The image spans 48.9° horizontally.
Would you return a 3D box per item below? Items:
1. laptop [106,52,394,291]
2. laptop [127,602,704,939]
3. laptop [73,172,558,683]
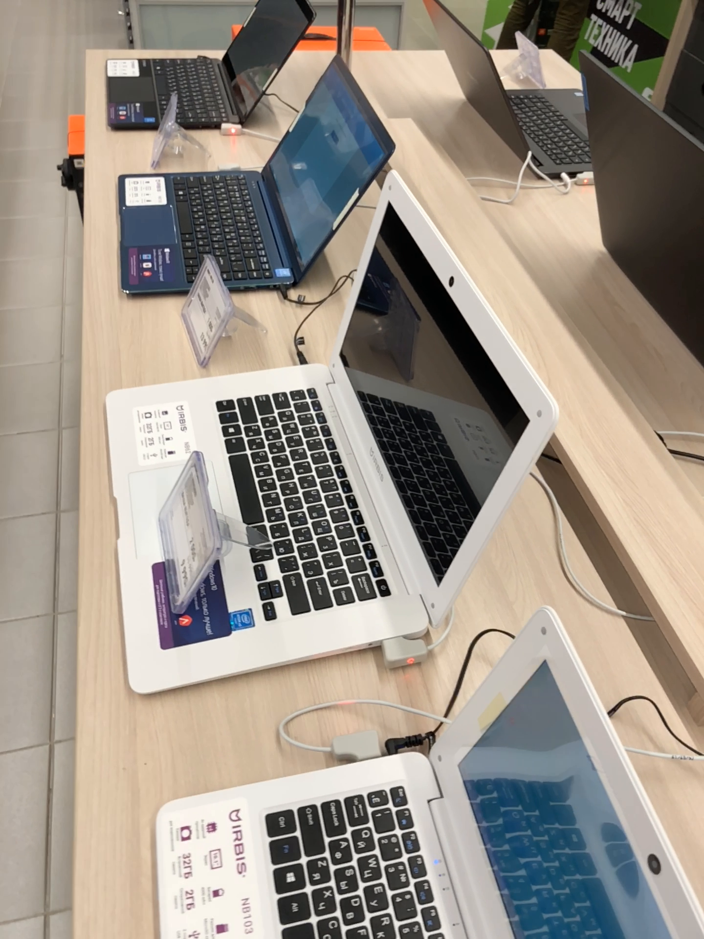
[{"bbox_3d":[-0.142,-0.393,0.992,0.310,0.158,0.299,-7,46,-11],"label":"laptop"},{"bbox_3d":[0.020,0.235,0.367,0.221,0.167,0.260,-7,44,-12],"label":"laptop"},{"bbox_3d":[-0.059,-0.057,0.630,0.279,0.207,0.335,-9,46,-13],"label":"laptop"}]
